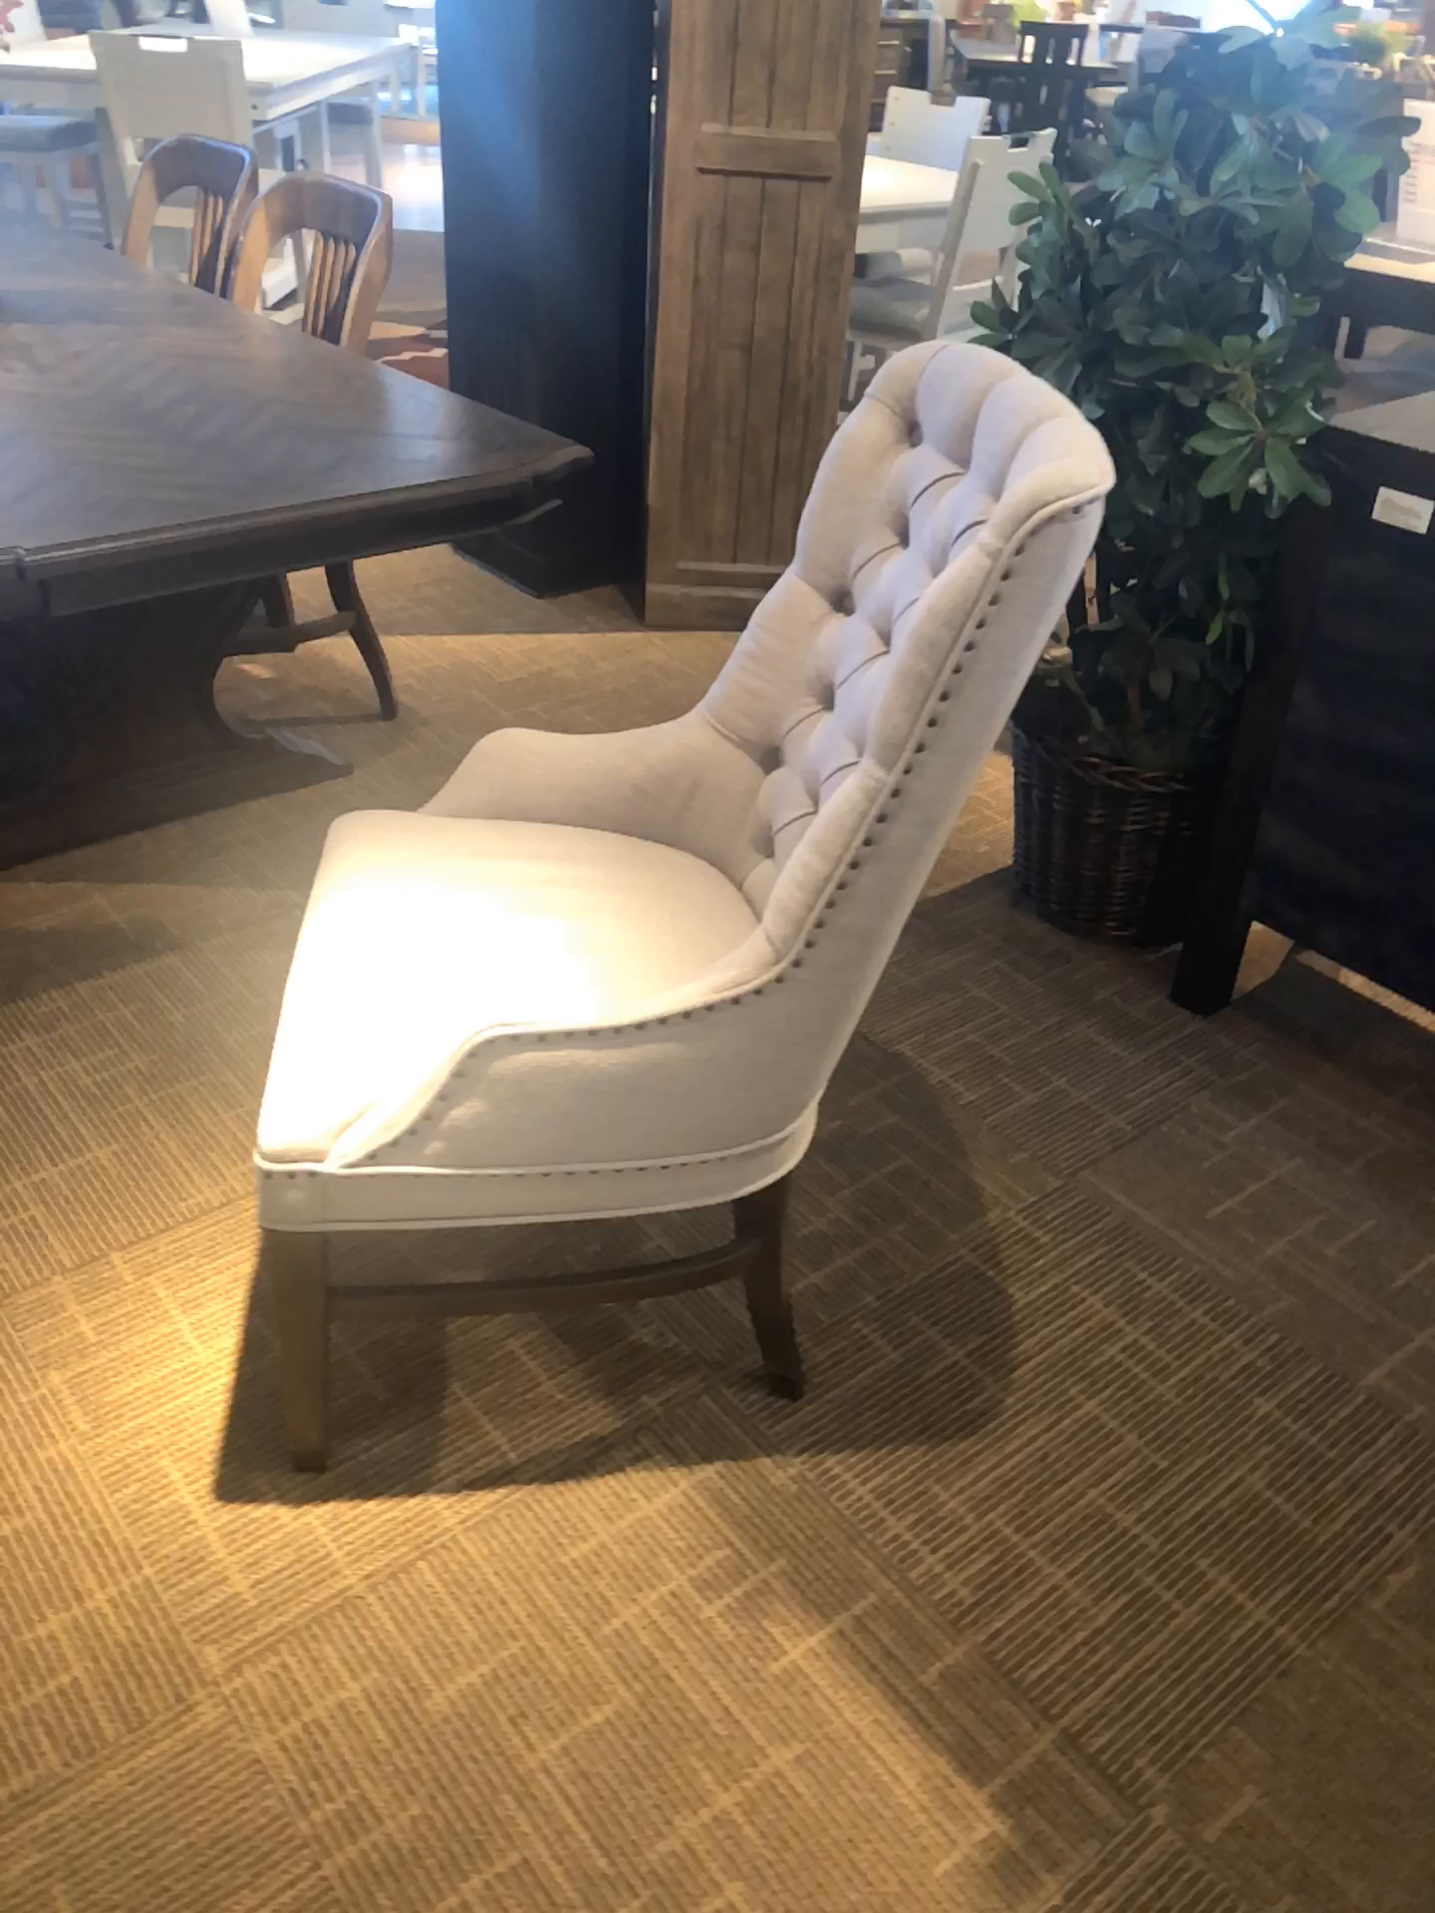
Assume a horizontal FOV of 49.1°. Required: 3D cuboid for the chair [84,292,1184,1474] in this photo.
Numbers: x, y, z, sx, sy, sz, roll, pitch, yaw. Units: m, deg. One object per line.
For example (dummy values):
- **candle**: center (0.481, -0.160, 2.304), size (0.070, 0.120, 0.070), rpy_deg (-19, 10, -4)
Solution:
- **chair**: center (-0.092, -0.070, 1.627), size (0.760, 1.014, 0.644), rpy_deg (1, 32, -4)
